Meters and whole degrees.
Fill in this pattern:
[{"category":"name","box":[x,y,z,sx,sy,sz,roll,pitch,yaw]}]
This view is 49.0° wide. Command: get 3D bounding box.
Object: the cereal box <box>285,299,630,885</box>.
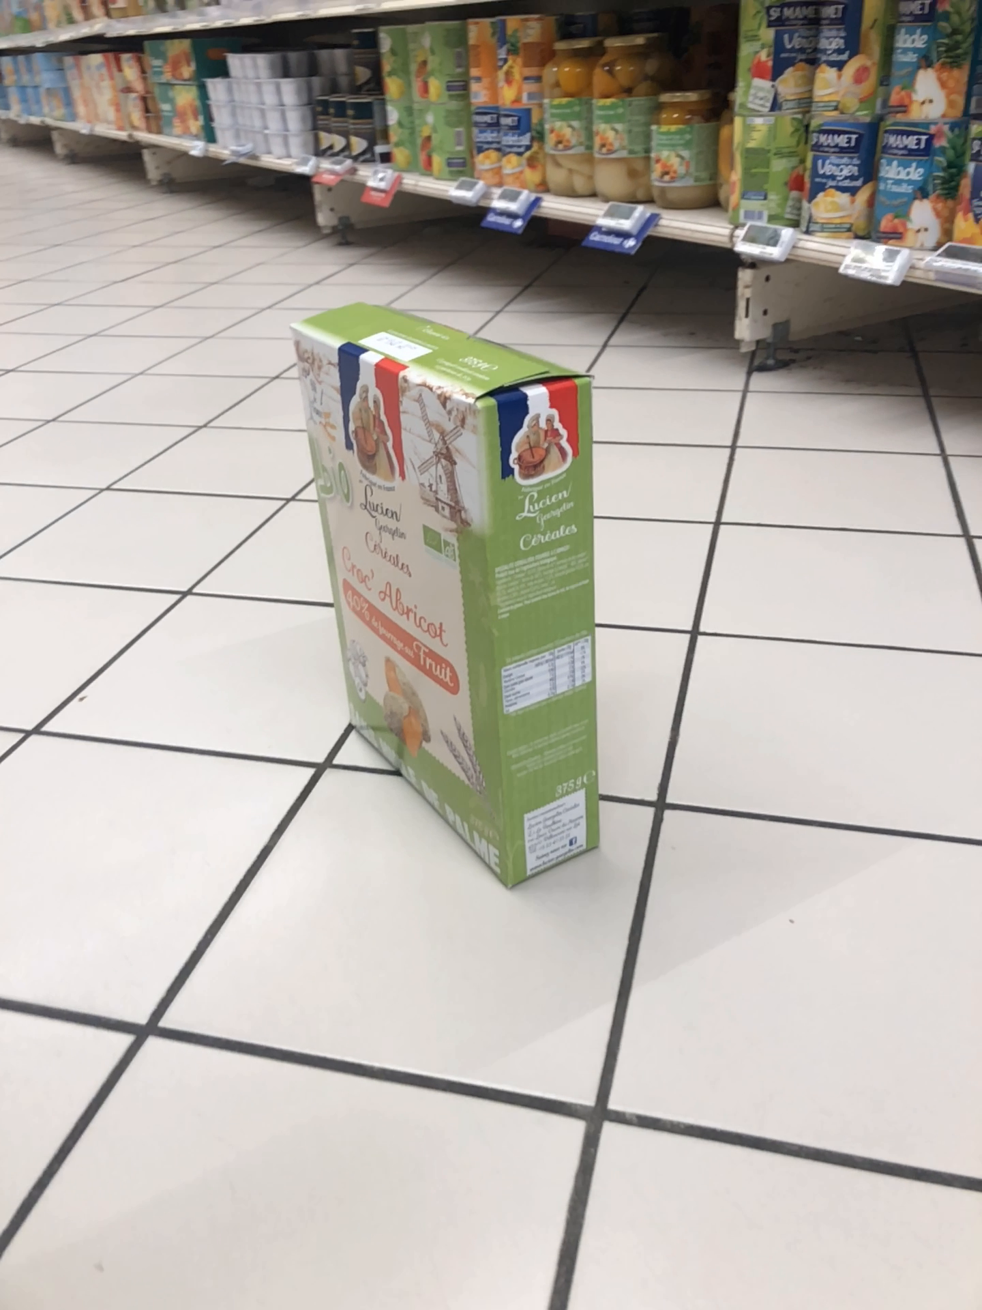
[{"category":"cereal box","box":[-0.020,-0.042,0.560,0.070,0.239,0.200,-18,32,-26]}]
